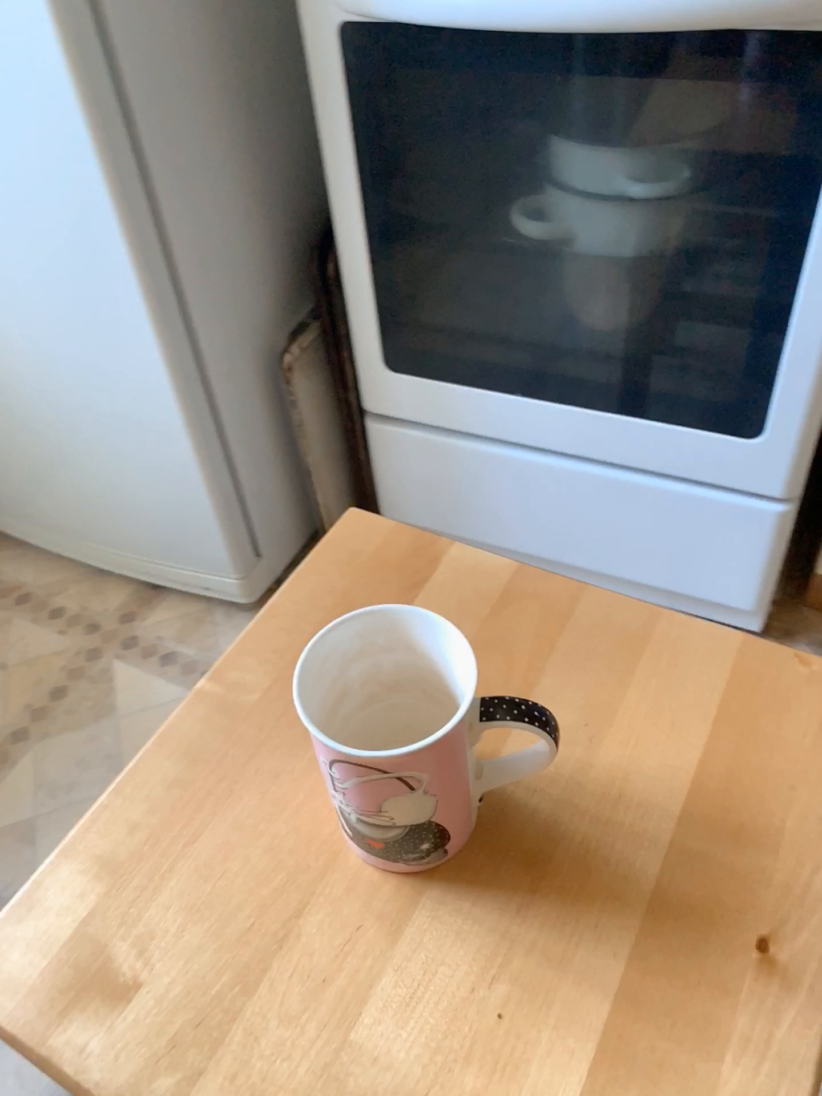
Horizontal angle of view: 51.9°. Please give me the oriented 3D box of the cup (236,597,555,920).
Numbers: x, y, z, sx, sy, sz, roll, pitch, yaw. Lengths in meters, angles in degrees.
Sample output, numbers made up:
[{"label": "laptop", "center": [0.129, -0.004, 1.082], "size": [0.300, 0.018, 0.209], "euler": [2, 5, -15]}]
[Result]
[{"label": "cup", "center": [0.002, 0.089, 0.363], "size": [0.110, 0.099, 0.081], "euler": [5, 45, 12]}]
